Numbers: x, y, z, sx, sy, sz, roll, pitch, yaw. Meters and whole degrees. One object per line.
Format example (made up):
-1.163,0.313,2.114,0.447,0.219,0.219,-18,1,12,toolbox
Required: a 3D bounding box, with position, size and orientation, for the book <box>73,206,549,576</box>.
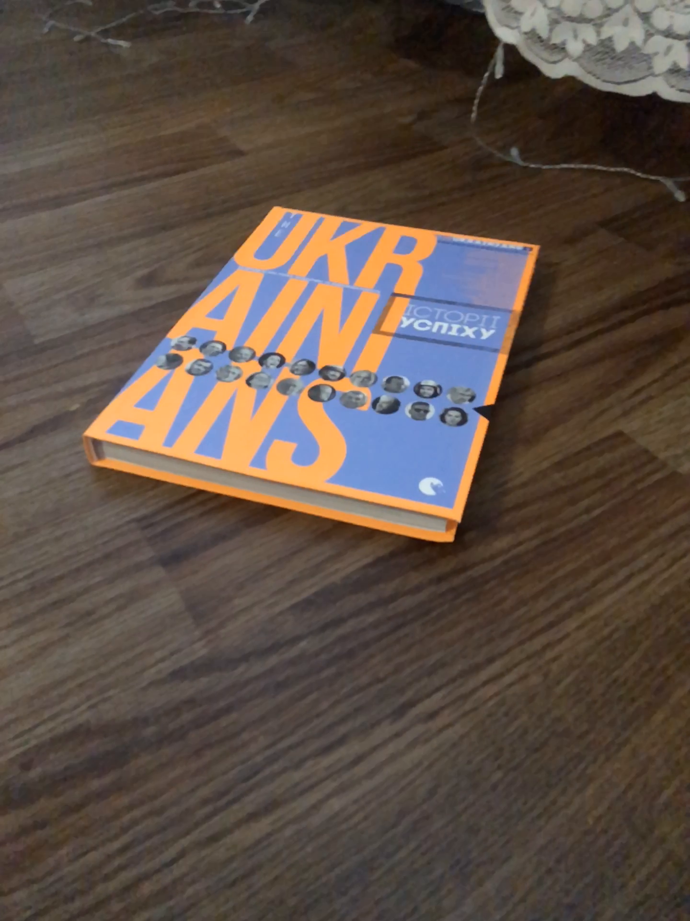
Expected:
0.001,-0.054,0.370,0.164,0.020,0.217,13,46,12,book
